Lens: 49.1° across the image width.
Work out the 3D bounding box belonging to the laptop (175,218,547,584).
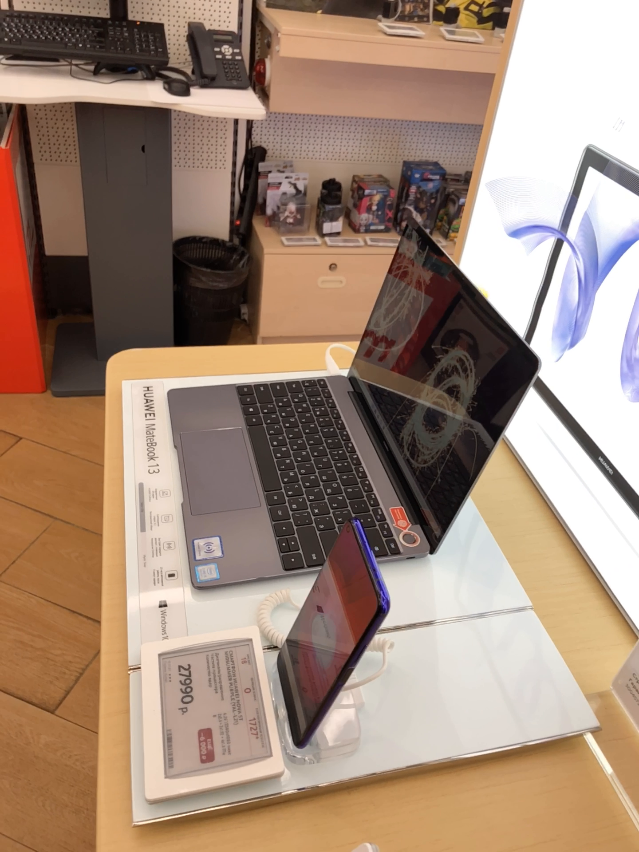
[{"bbox_3d":[0.004,-0.042,0.648,0.244,0.192,0.276,-5,39,-13],"label":"laptop"}]
